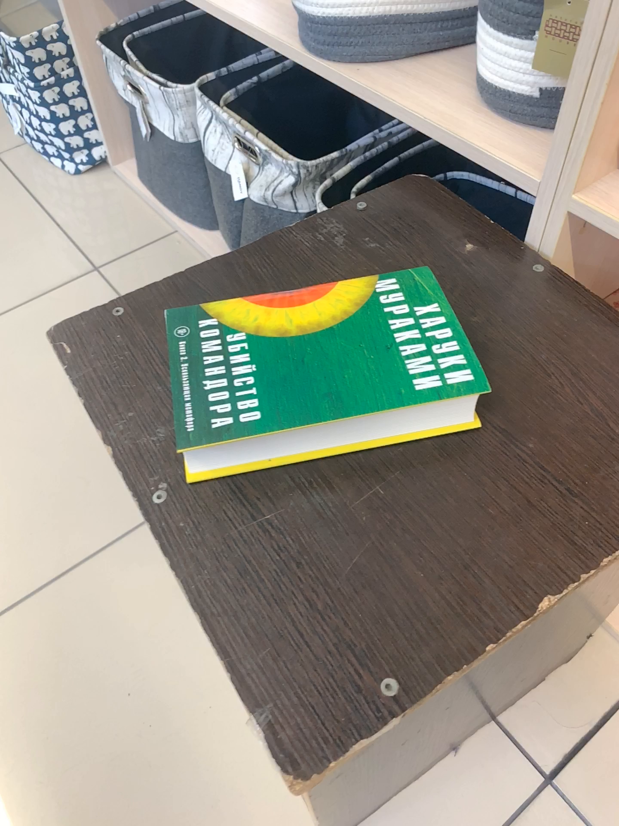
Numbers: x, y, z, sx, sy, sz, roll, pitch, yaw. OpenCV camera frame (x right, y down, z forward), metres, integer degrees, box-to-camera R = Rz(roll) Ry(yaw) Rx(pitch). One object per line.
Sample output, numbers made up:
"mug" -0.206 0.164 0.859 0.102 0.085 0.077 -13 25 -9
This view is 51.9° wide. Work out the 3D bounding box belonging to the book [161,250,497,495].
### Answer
"book" 0.006 -0.037 0.478 0.216 0.050 0.151 -11 52 -3
